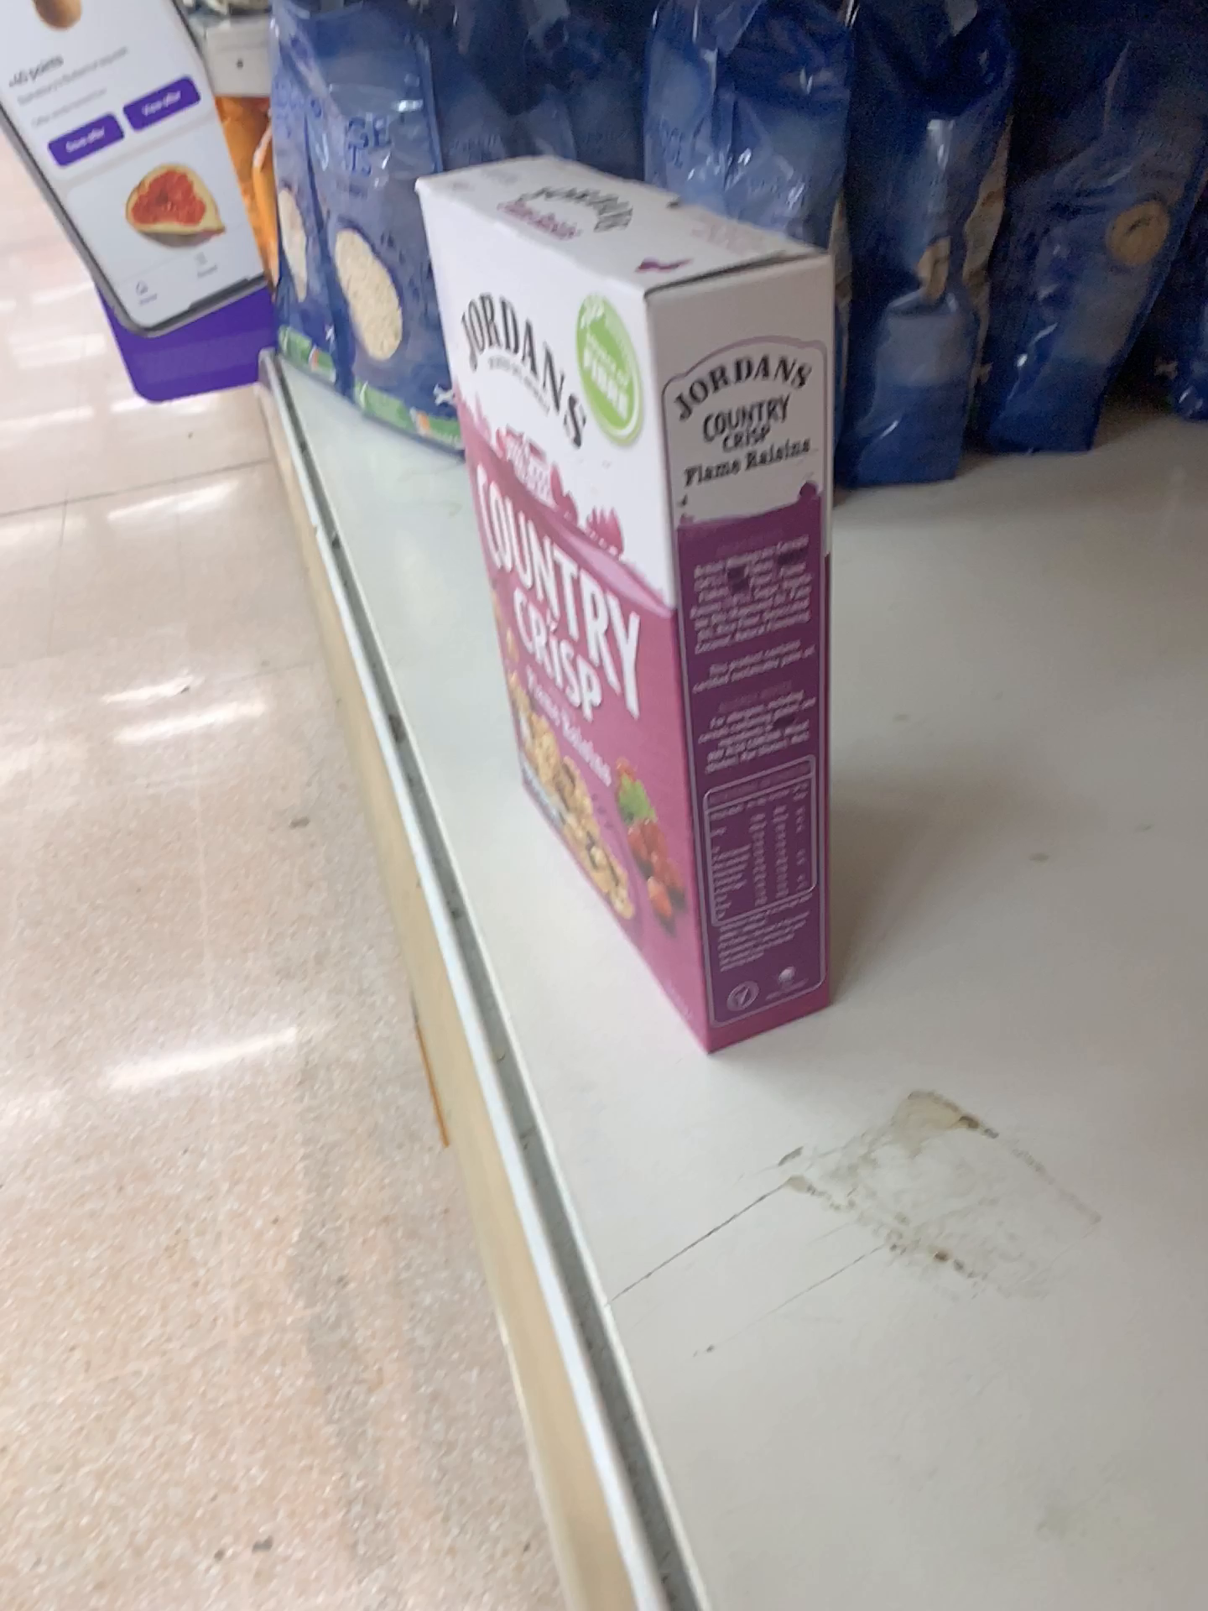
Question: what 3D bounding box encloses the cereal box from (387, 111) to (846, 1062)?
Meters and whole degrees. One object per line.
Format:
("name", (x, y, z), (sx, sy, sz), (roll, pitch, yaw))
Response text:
("cereal box", (0.003, -0.074, 0.406), (0.050, 0.248, 0.192), (-18, 38, -16))
